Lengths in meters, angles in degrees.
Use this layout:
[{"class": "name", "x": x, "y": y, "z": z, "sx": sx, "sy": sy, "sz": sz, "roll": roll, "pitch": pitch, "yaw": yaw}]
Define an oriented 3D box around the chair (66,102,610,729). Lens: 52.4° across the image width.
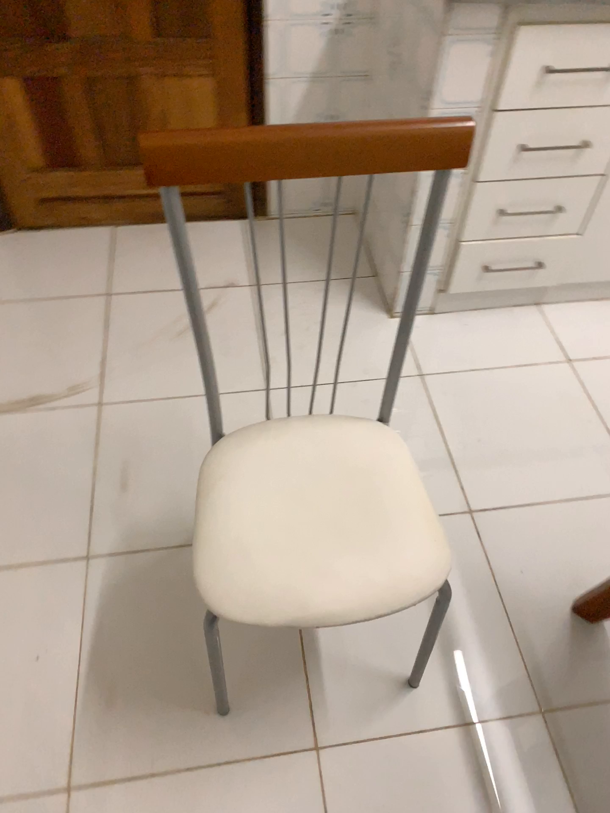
[{"class": "chair", "x": 0.016, "y": 0.094, "z": 0.980, "sx": 0.480, "sy": 0.886, "sz": 0.512, "roll": -5, "pitch": 51, "yaw": -6}]
